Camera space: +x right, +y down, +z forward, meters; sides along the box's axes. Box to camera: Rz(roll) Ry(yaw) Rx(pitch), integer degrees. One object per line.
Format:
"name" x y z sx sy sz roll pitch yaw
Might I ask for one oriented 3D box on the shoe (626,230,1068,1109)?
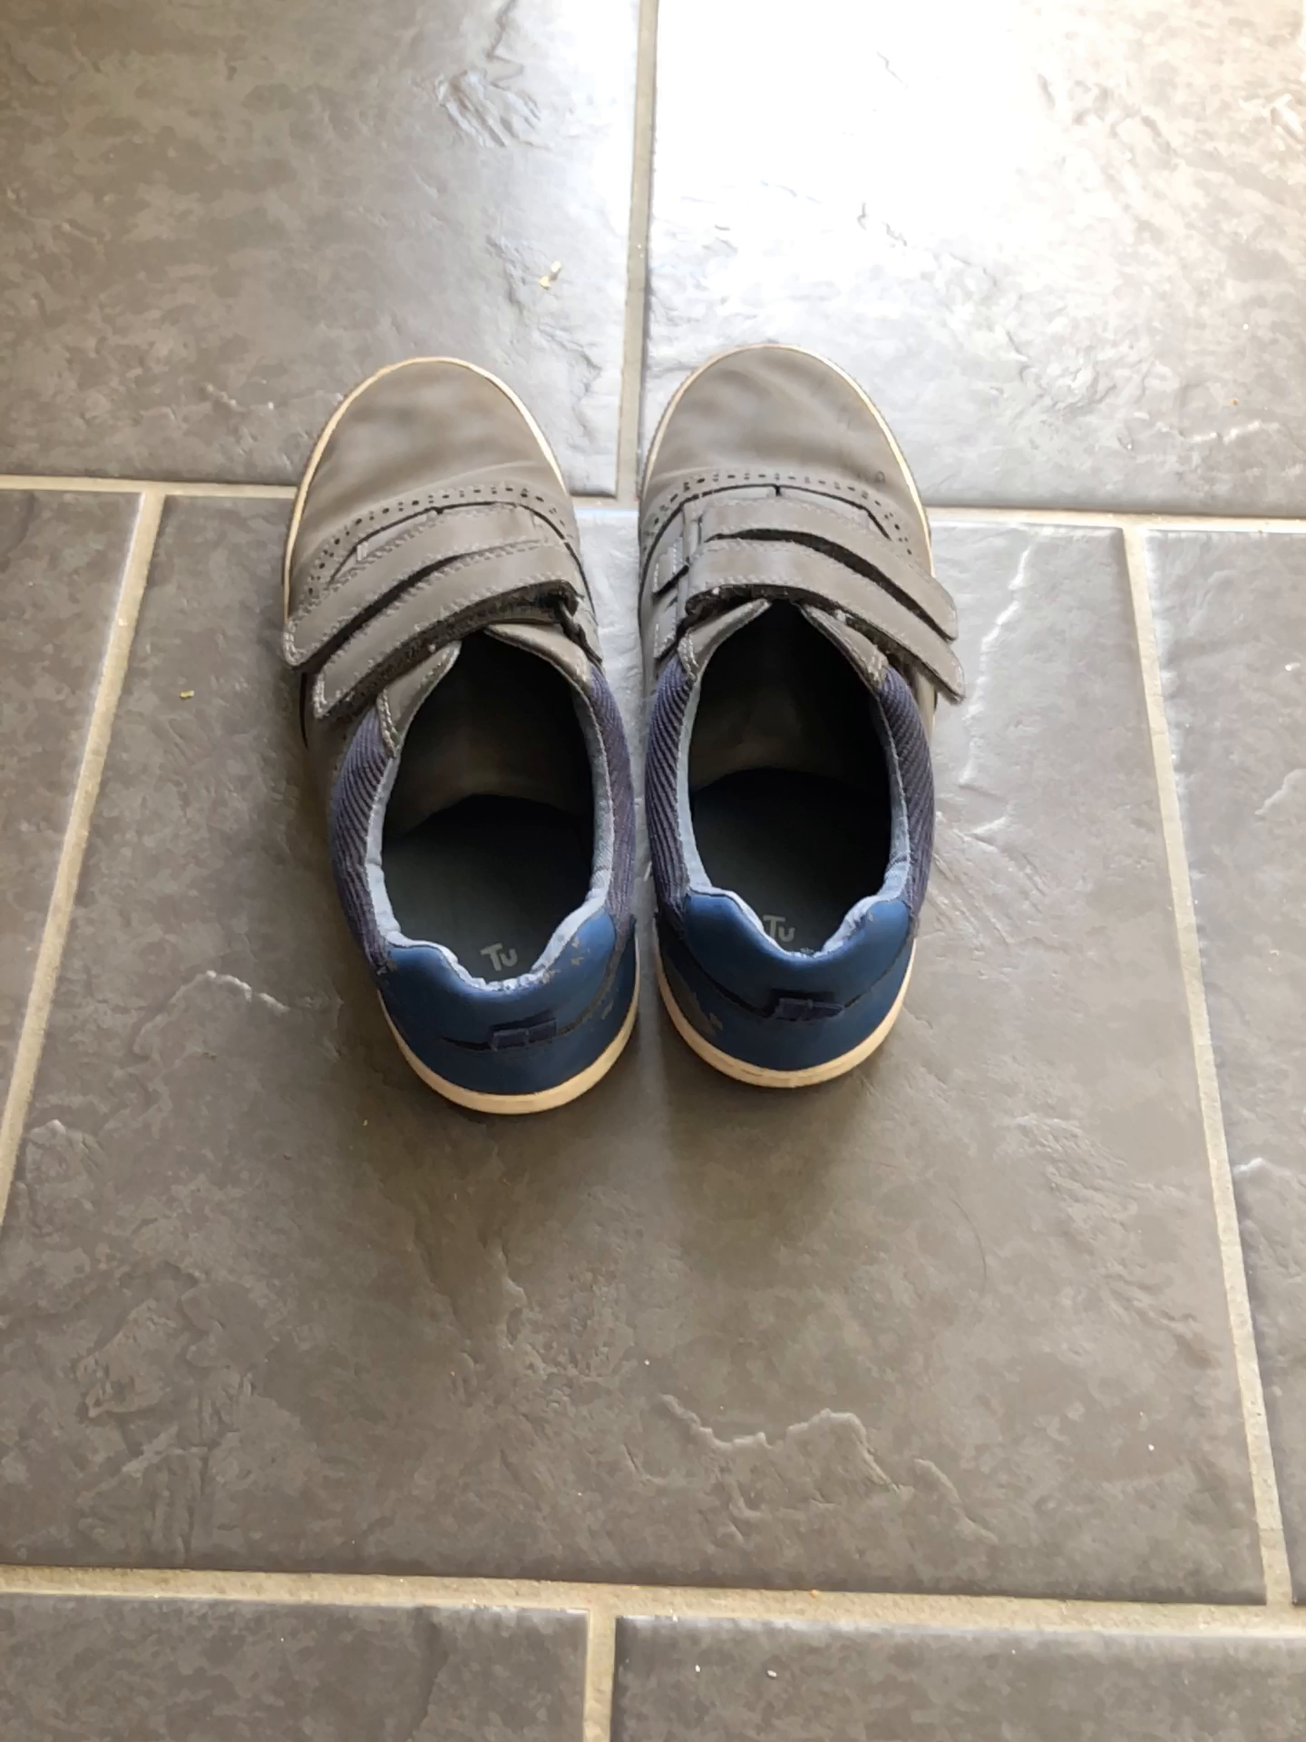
"shoe" 0.043 -0.064 0.413 0.100 0.070 0.251 0 65 -1

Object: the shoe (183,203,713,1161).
"shoe" -0.061 -0.060 0.398 0.100 0.070 0.251 -10 65 -5
